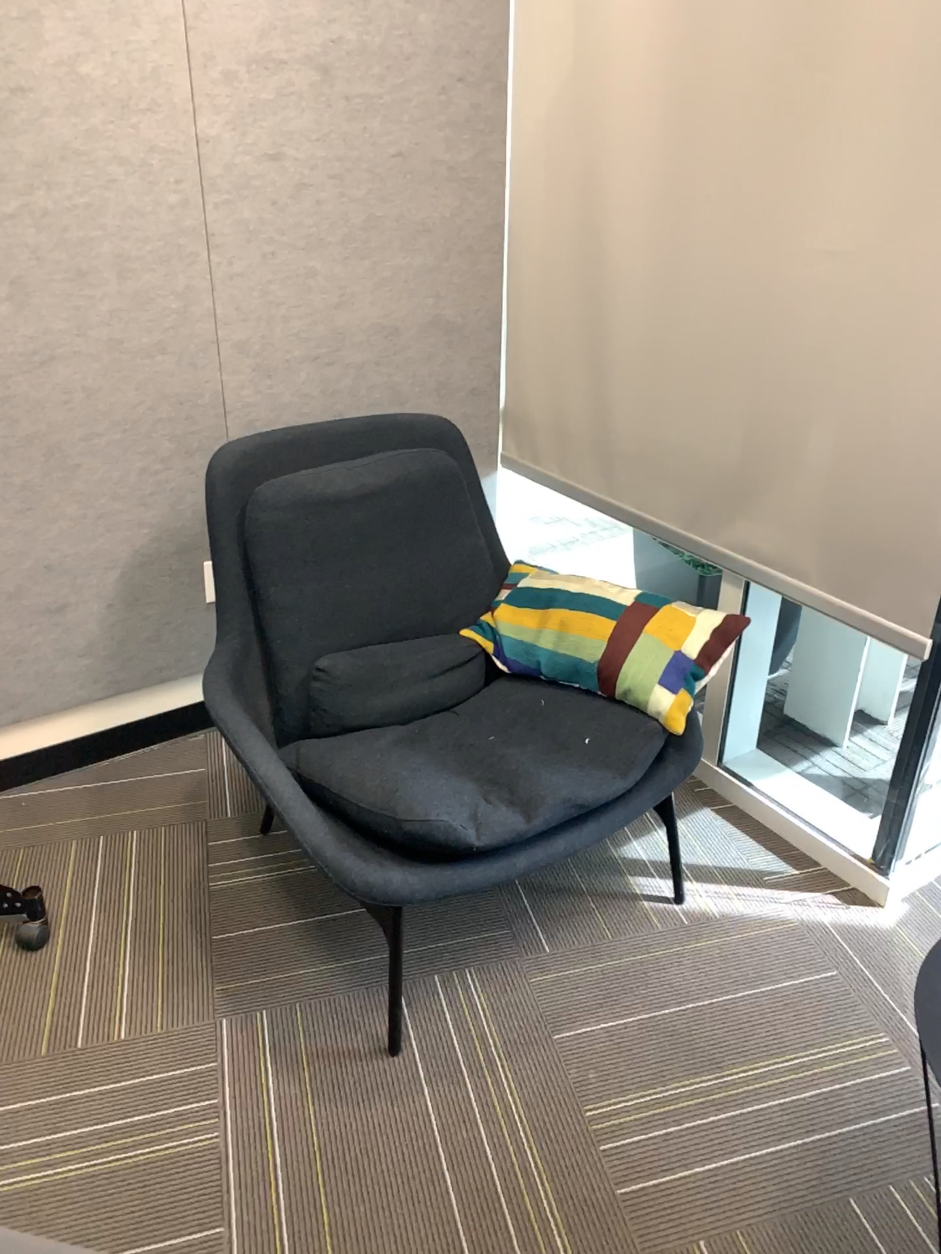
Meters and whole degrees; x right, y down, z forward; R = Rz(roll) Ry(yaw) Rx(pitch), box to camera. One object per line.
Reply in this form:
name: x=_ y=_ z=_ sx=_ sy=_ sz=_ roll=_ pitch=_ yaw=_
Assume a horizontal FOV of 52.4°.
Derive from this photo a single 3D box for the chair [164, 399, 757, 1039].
chair: x=-0.097 y=0.070 z=2.049 sx=0.790 sy=0.816 sz=1.005 roll=-13 pitch=30 yaw=-25
